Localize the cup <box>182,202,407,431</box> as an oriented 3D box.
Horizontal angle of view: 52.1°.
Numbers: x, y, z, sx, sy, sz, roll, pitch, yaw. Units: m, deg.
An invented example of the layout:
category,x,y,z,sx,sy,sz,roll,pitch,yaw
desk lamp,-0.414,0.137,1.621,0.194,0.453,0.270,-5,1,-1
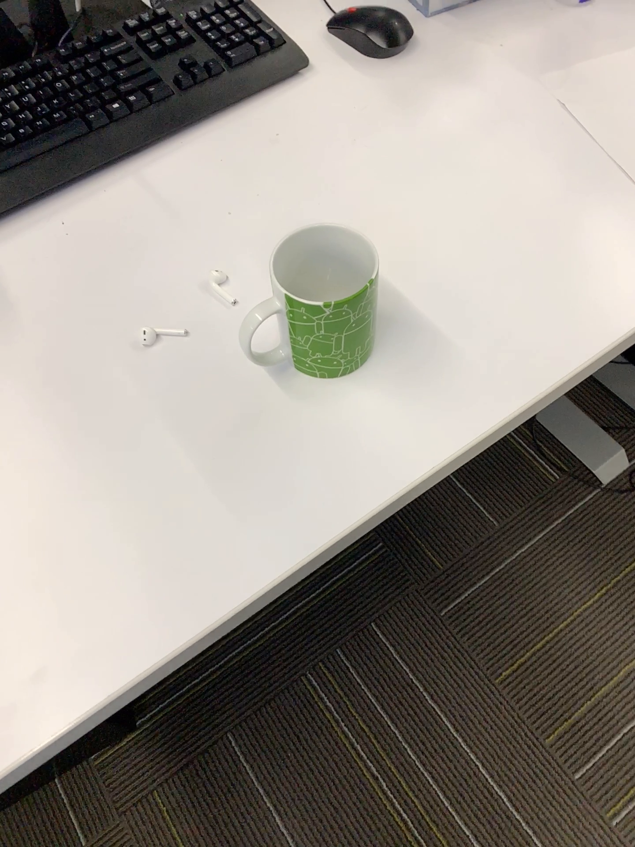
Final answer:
category,x,y,z,sx,sy,sz,roll,pitch,yaw
cup,-0.015,-0.080,0.494,0.130,0.090,0.090,-30,63,-13
